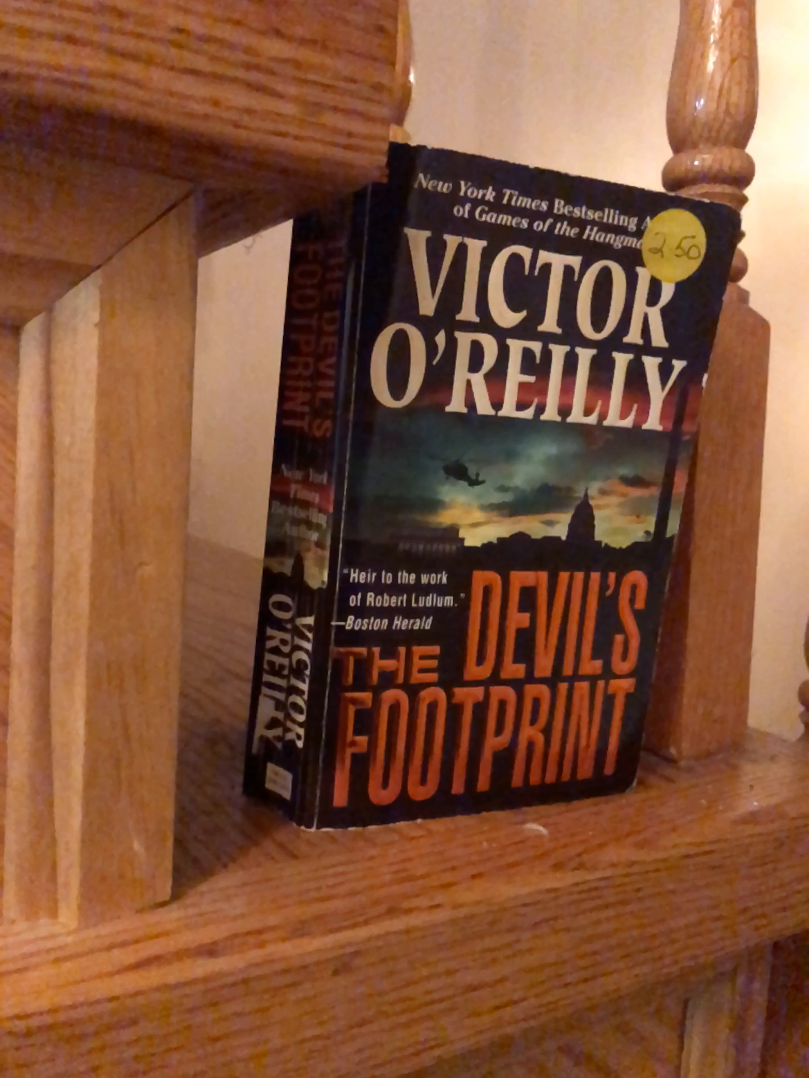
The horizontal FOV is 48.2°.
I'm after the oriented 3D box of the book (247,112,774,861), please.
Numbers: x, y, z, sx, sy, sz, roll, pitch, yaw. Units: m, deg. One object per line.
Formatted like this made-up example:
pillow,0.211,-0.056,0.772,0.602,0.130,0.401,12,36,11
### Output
book,0.026,-0.010,0.249,0.120,0.170,0.050,1,8,-22
